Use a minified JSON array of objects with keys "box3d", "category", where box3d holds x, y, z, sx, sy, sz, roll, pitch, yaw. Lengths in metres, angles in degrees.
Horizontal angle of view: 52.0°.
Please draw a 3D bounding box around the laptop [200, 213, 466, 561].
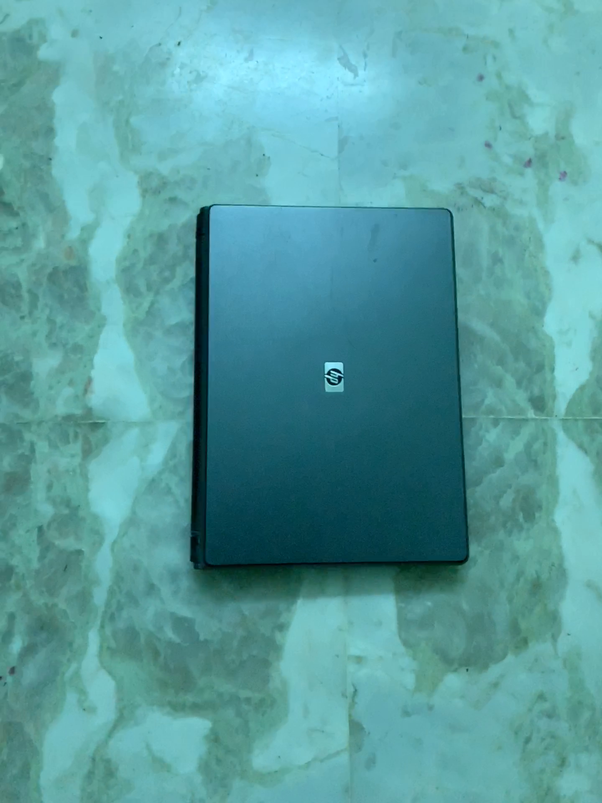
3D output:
[{"box3d":[0.027,-0.018,0.547,0.226,0.001,0.310,0,82,-2],"category":"laptop"}]
